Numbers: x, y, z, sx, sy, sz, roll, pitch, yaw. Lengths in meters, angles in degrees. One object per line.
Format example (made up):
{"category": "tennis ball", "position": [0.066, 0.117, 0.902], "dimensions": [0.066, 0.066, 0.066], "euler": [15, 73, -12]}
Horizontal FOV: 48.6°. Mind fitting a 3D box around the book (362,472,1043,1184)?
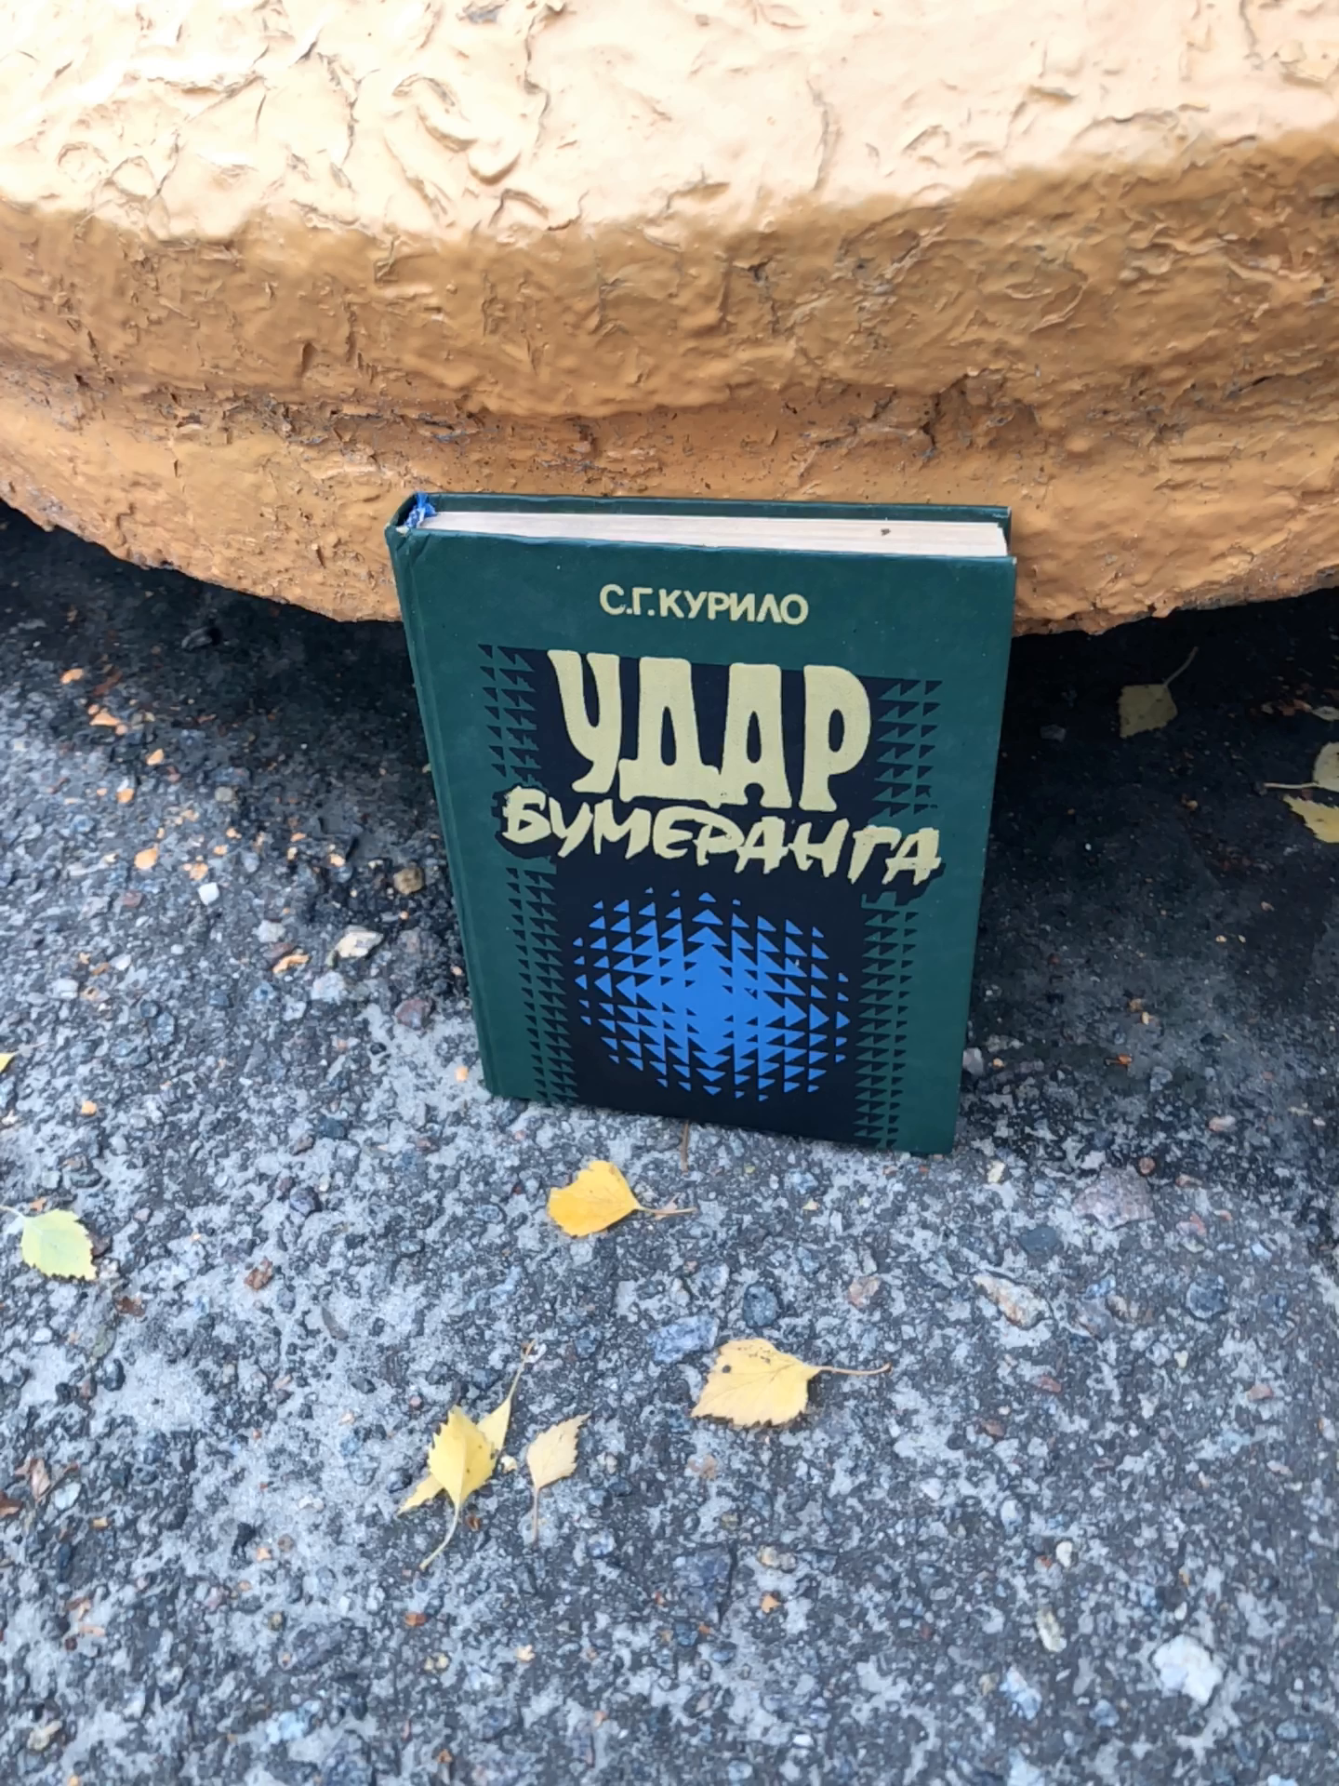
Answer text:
{"category": "book", "position": [0.015, -0.008, 0.349], "dimensions": [0.131, 0.178, 0.029], "euler": [7, 44, 17]}
